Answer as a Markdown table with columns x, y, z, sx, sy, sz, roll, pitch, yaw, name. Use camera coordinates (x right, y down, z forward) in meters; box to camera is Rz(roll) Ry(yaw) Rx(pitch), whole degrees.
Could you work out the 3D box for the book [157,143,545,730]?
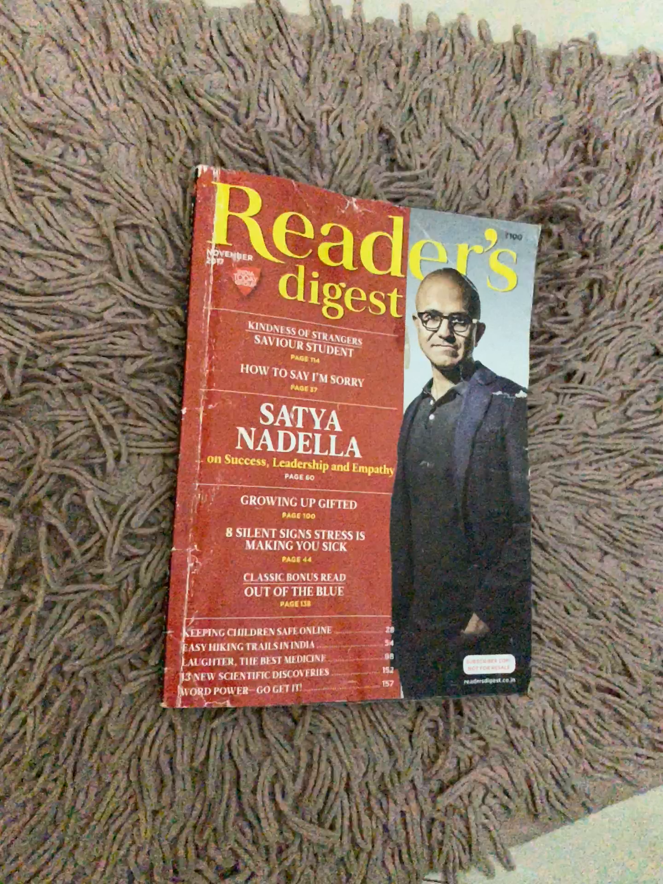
| x | y | z | sx | sy | sz | roll | pitch | yaw | name |
| --- | --- | --- | --- | --- | --- | --- | --- | --- | --- |
| 0.011 | -0.002 | 0.241 | 0.130 | 0.020 | 0.180 | 4 | 82 | -20 | book |
